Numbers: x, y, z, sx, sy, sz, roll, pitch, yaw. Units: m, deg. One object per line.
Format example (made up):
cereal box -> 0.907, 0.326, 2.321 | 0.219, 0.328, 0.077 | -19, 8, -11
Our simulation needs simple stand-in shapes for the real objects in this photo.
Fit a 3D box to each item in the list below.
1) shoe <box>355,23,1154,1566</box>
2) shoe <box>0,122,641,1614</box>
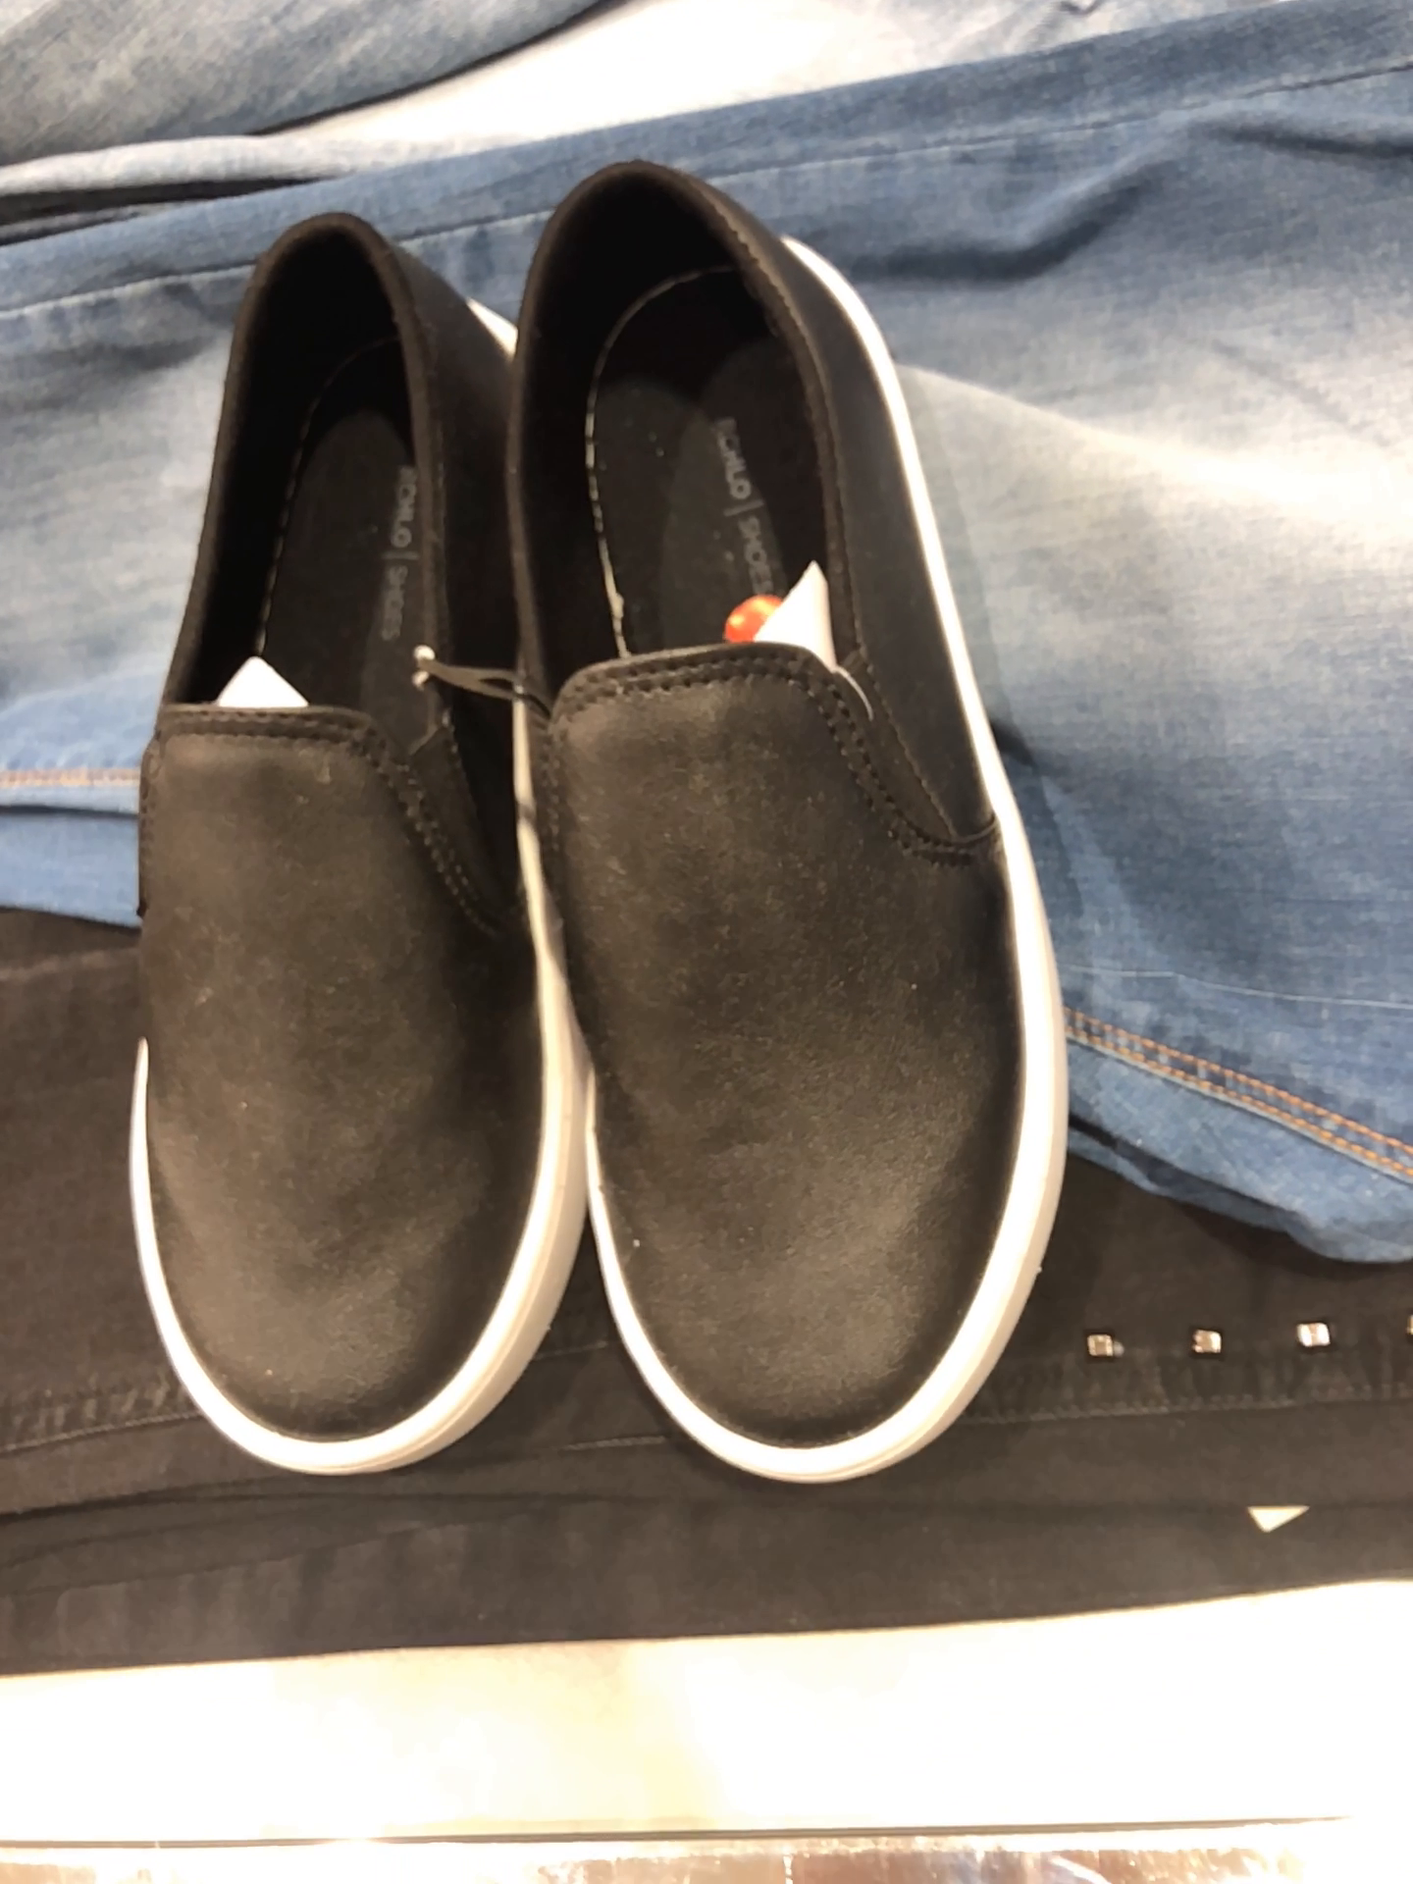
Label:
shoe -> 0.008, -0.025, 0.320 | 0.110, 0.100, 0.260 | -8, 78, 8
shoe -> -0.082, -0.014, 0.329 | 0.110, 0.100, 0.260 | -1, 79, 12
